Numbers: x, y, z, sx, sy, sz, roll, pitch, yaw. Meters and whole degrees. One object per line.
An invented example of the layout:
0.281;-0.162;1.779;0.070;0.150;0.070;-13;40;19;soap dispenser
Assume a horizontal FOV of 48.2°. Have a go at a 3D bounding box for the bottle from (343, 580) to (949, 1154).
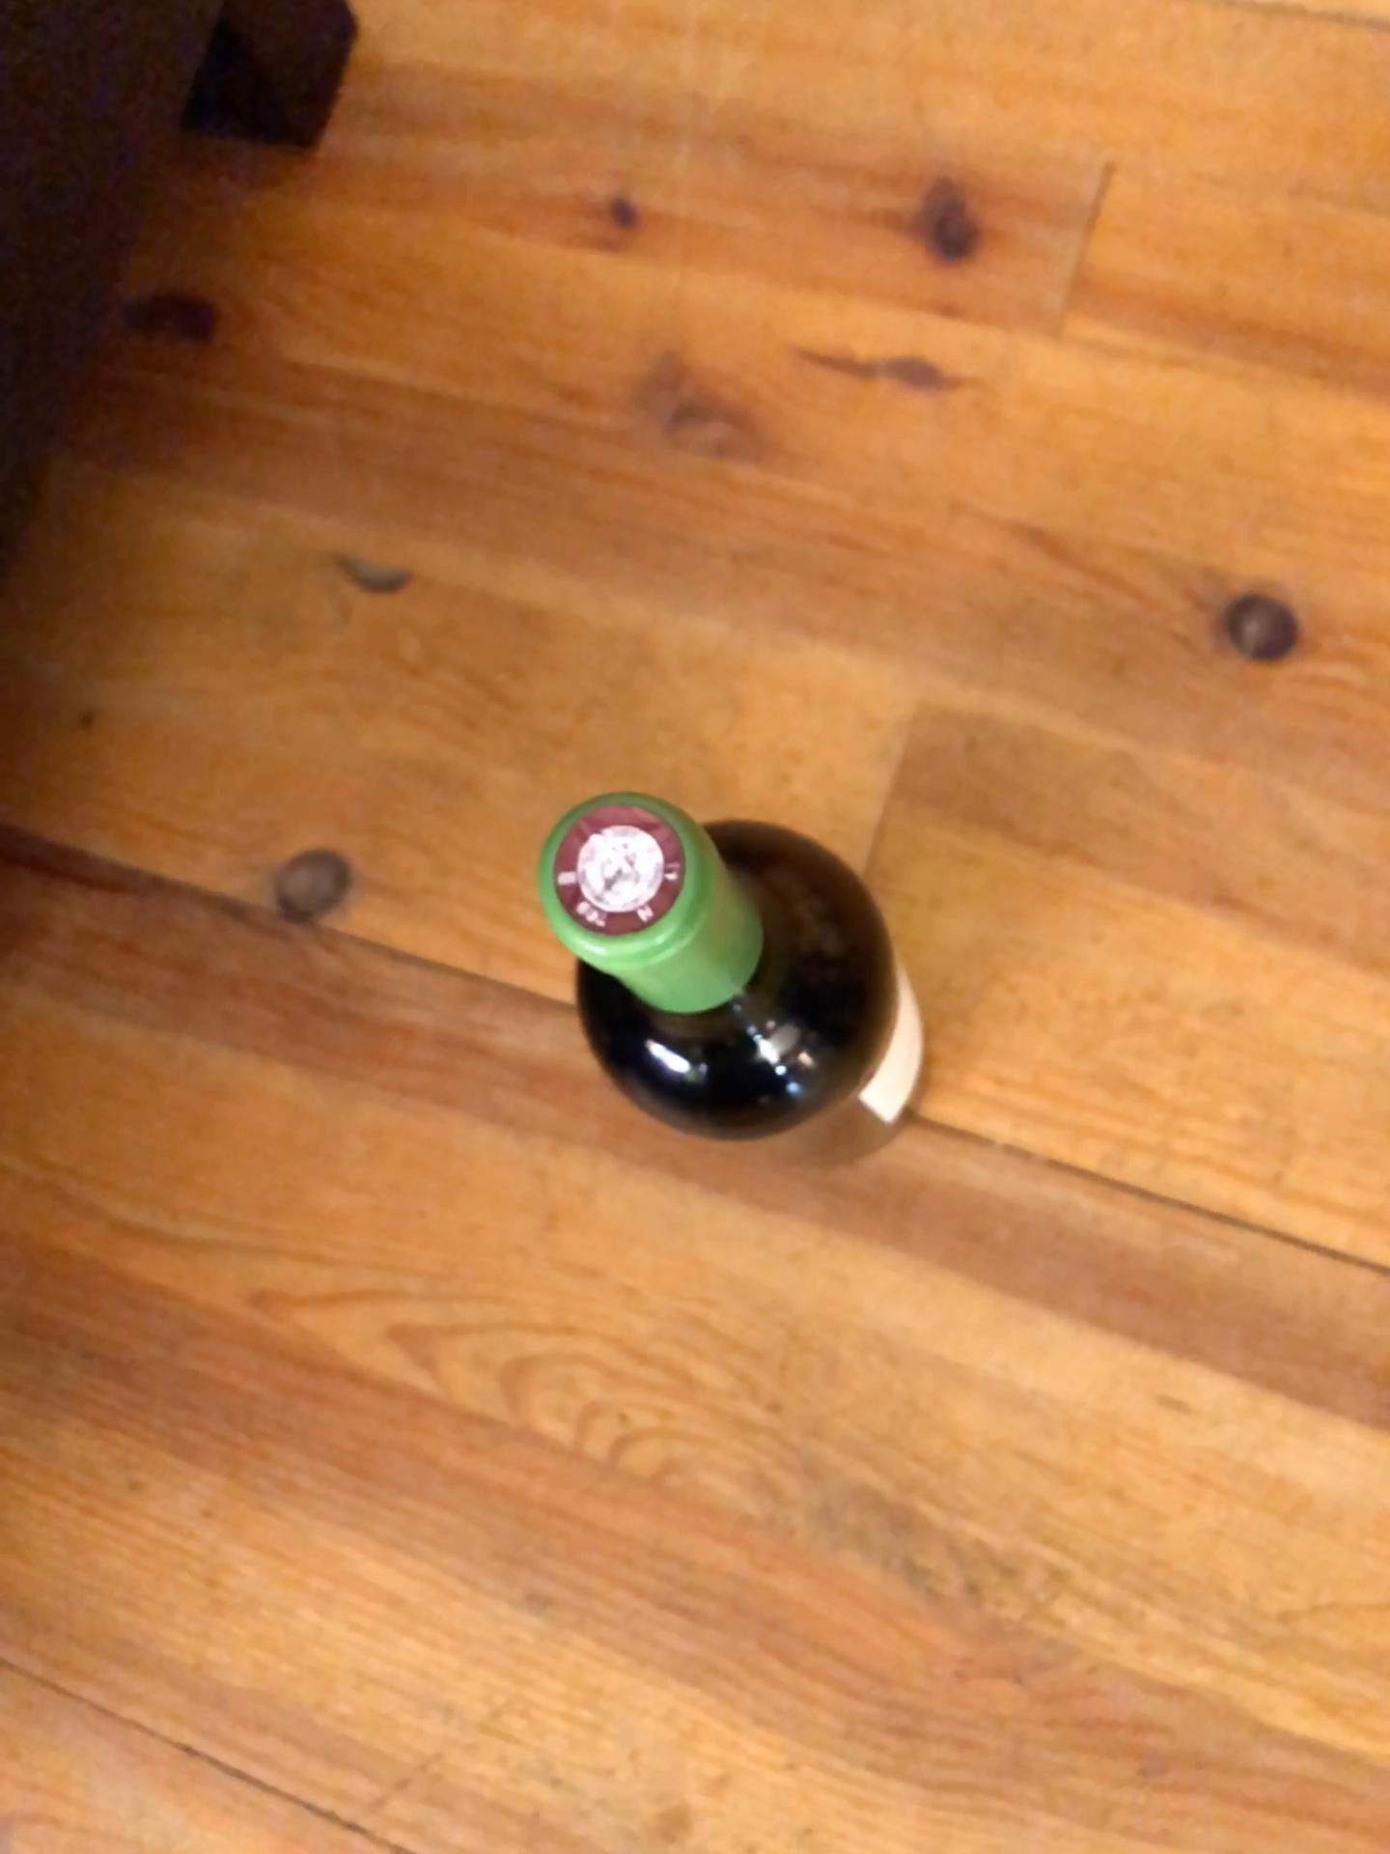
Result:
0.016;0.011;0.382;0.080;0.300;0.080;-2;80;11;bottle
